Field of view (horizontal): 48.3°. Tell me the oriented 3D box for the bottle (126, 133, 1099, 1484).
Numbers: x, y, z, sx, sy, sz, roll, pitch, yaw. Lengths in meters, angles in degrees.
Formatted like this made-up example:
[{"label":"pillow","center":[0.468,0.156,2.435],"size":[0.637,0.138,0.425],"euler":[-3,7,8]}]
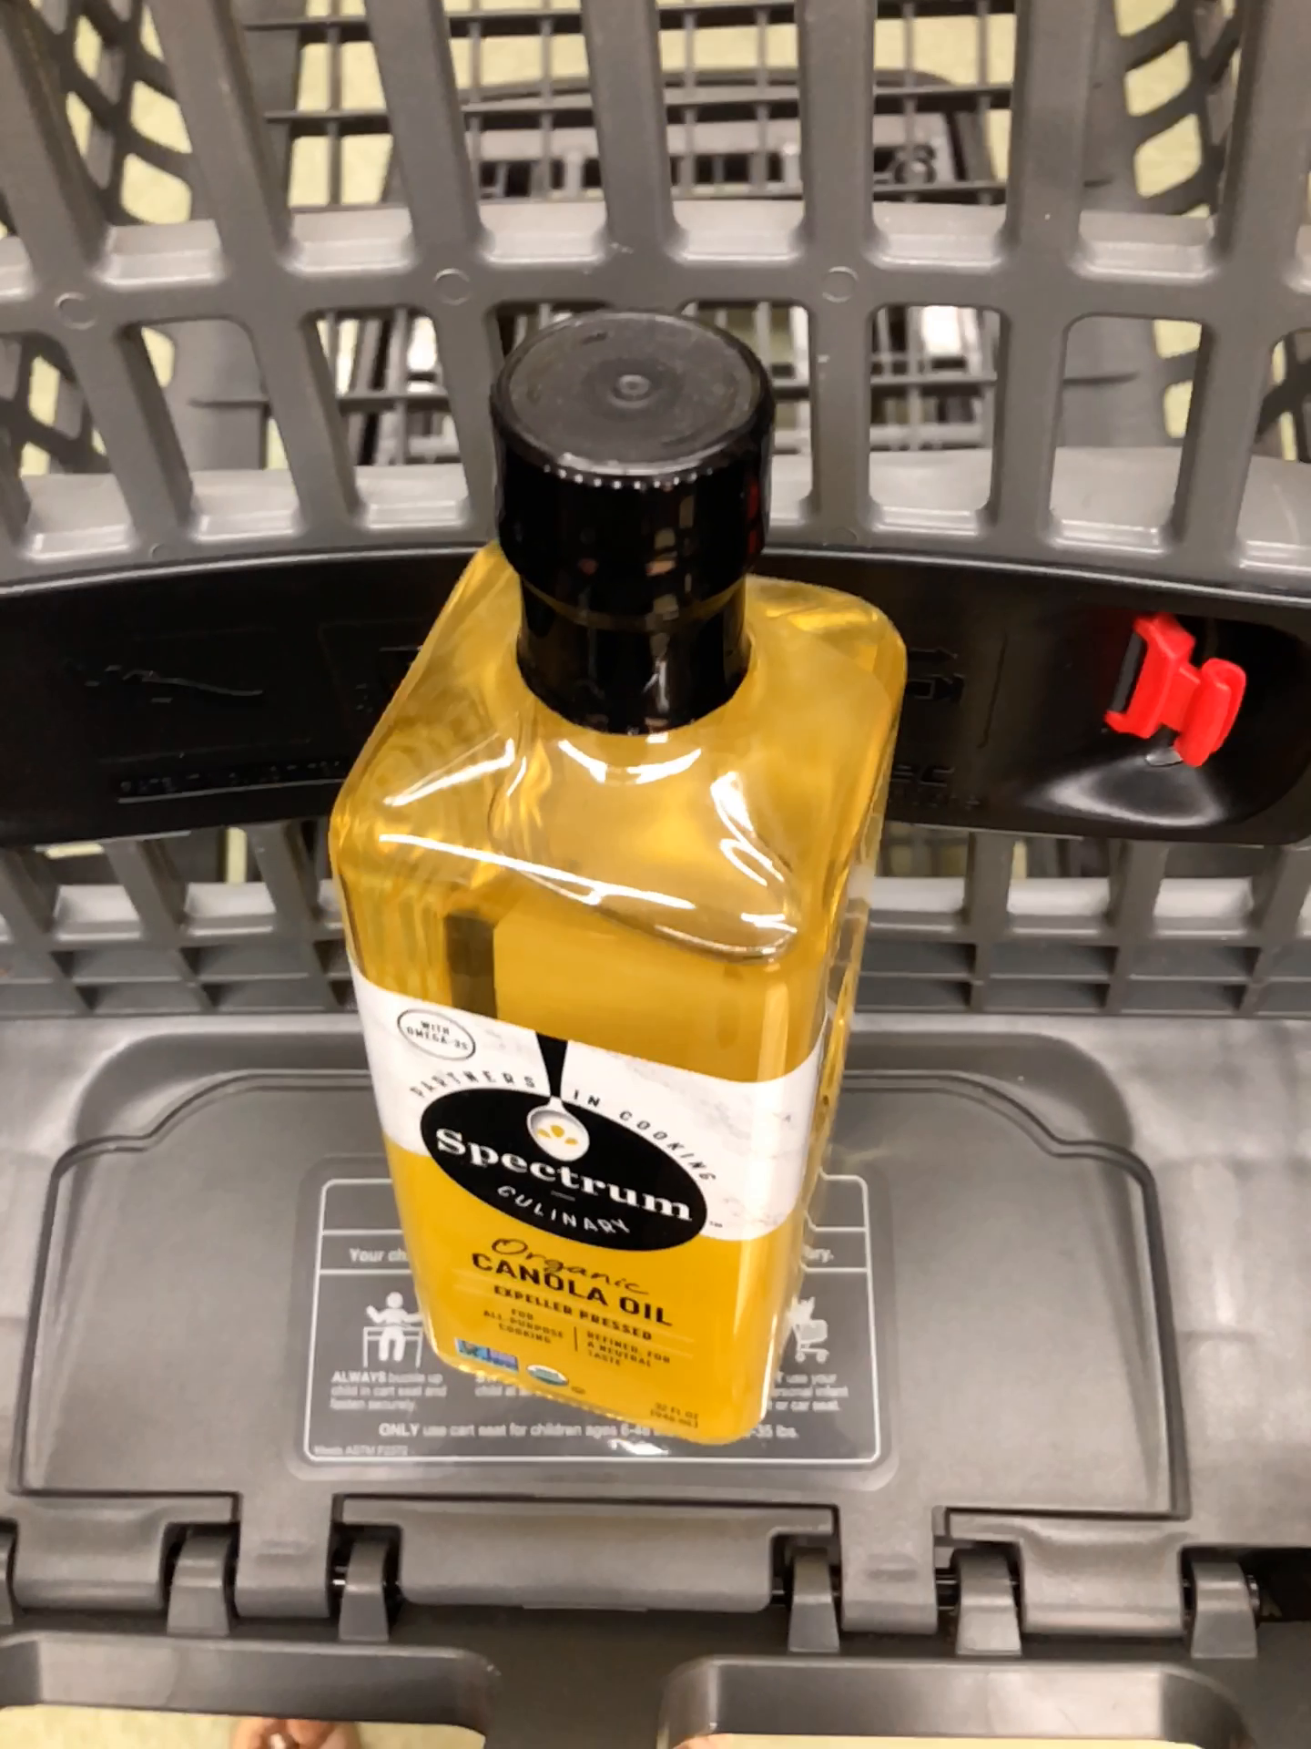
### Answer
[{"label":"bottle","center":[0.000,0.017,0.272],"size":[0.090,0.250,0.090],"euler":[0,52,0]}]
